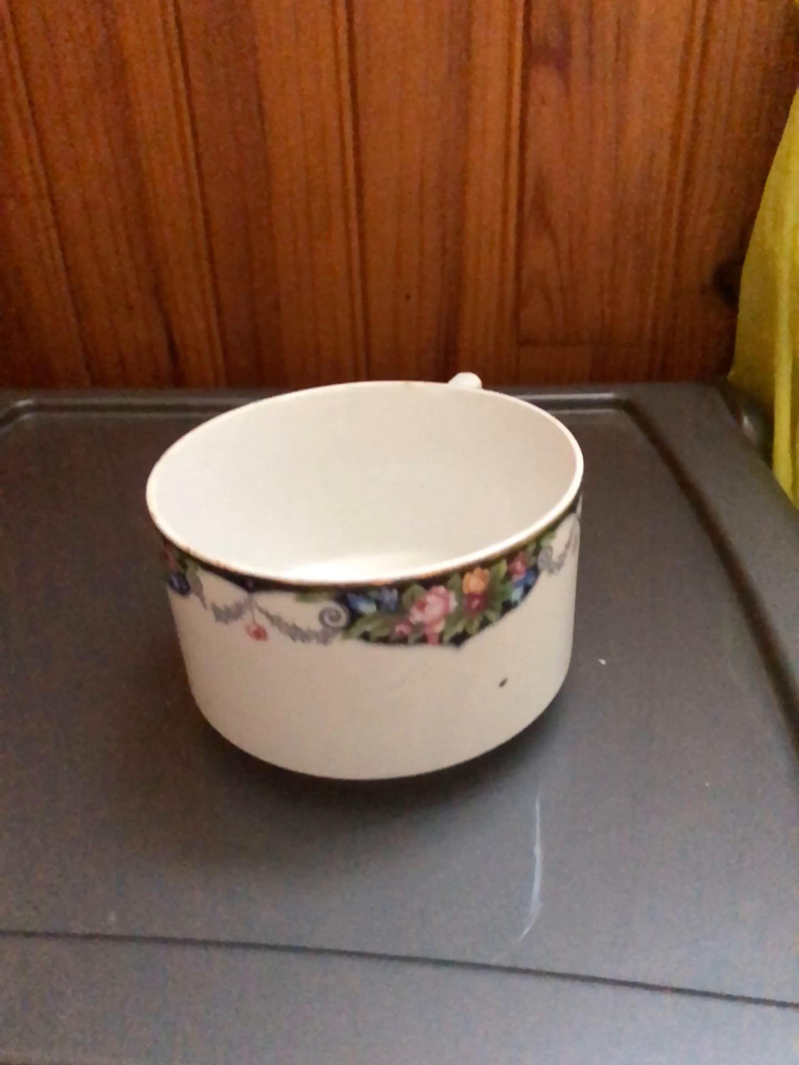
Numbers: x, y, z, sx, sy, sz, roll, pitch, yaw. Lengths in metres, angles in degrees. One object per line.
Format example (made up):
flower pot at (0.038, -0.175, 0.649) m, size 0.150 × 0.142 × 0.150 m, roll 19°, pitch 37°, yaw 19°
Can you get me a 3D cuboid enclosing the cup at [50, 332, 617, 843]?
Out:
cup at (-0.003, 0.000, 0.236) m, size 0.100 × 0.060 × 0.131 m, roll 7°, pitch 32°, yaw 16°
